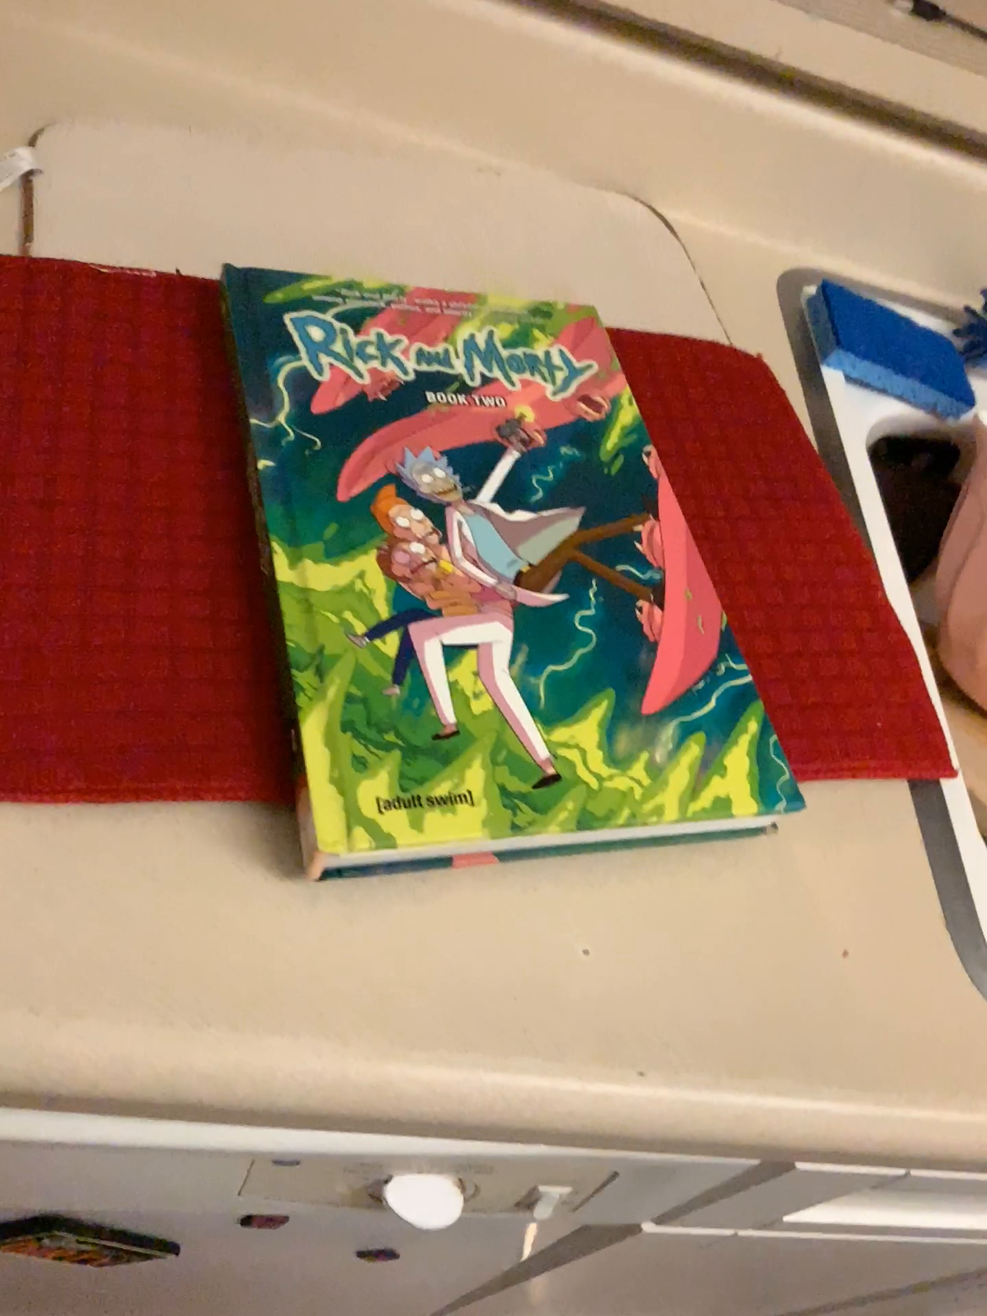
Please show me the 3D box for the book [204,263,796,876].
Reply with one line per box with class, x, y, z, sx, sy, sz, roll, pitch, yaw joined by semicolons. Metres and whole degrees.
book;-0.011;-0.057;0.491;0.200;0.030;0.300;-1;56;-23
